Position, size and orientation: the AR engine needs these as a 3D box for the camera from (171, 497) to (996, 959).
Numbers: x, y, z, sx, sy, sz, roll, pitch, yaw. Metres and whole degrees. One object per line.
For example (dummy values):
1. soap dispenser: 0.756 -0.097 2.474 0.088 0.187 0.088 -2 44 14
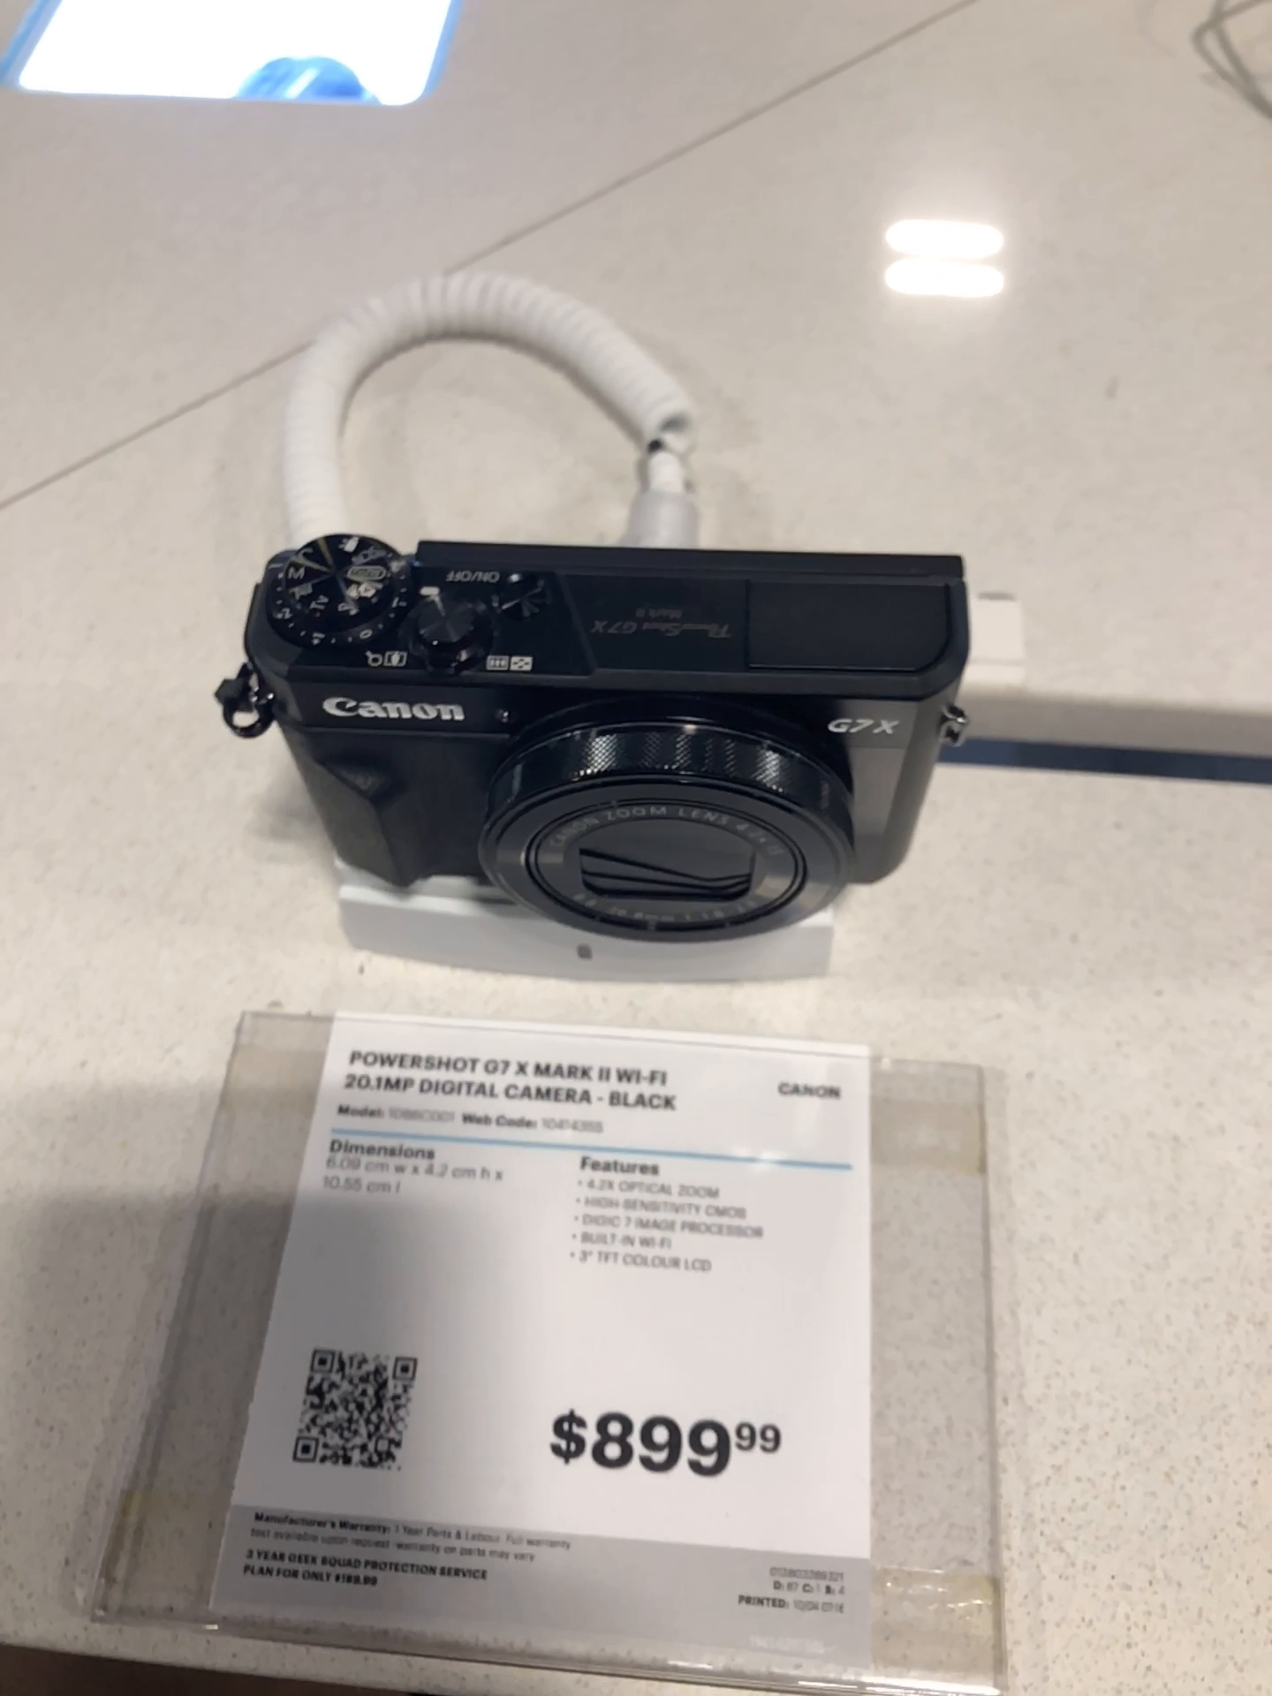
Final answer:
1. camera: -0.006 -0.017 0.225 0.110 0.060 0.040 3 59 3
